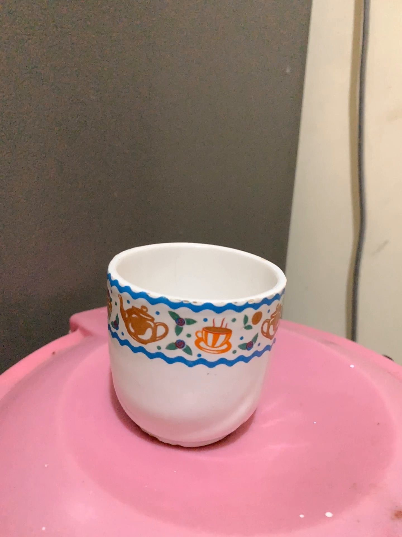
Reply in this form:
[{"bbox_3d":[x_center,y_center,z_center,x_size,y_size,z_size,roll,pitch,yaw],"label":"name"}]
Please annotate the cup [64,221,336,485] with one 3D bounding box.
[{"bbox_3d":[-0.002,0.021,0.170,0.076,0.062,0.072,2,16,-1],"label":"cup"}]
